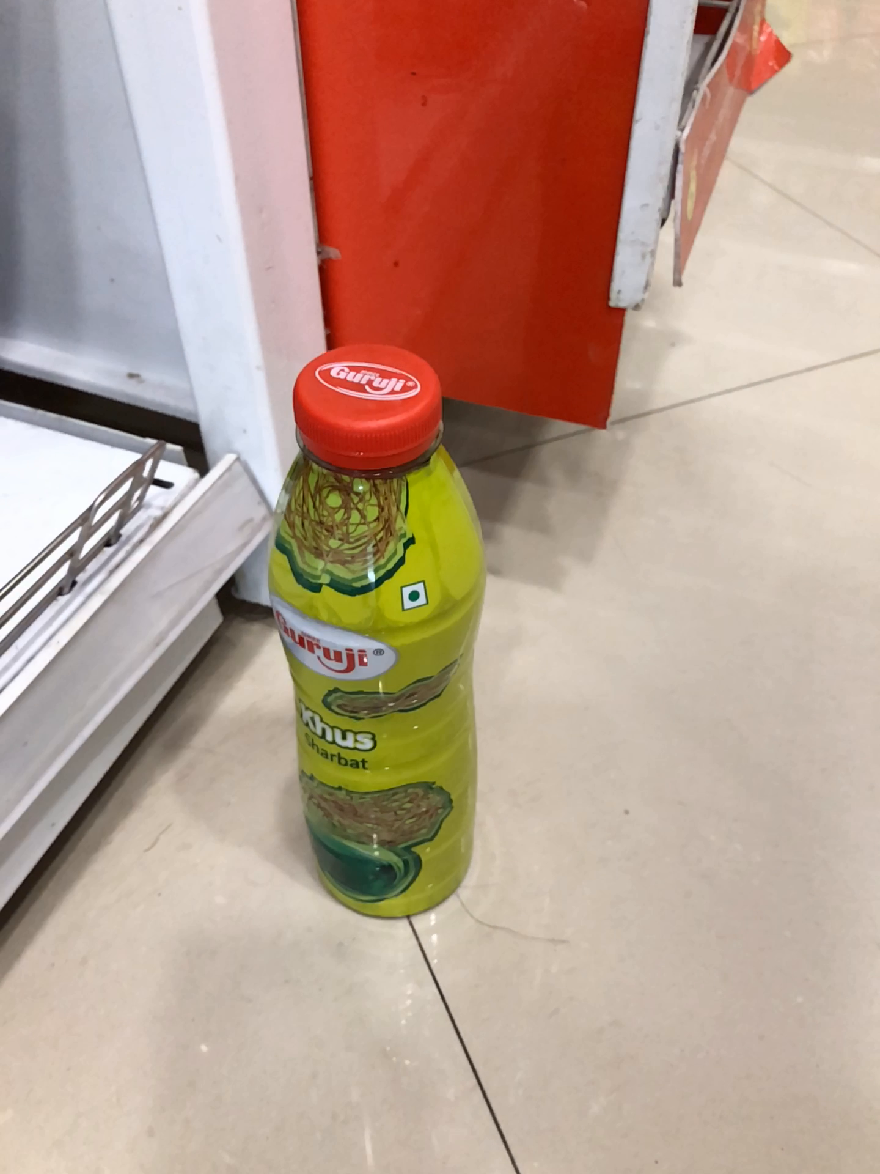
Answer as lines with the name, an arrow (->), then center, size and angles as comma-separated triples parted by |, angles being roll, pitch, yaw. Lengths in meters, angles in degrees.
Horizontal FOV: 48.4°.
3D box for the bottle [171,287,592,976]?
bottle -> -0.012, 0.032, 0.344 | 0.080, 0.238, 0.080 | -1, 45, 1
